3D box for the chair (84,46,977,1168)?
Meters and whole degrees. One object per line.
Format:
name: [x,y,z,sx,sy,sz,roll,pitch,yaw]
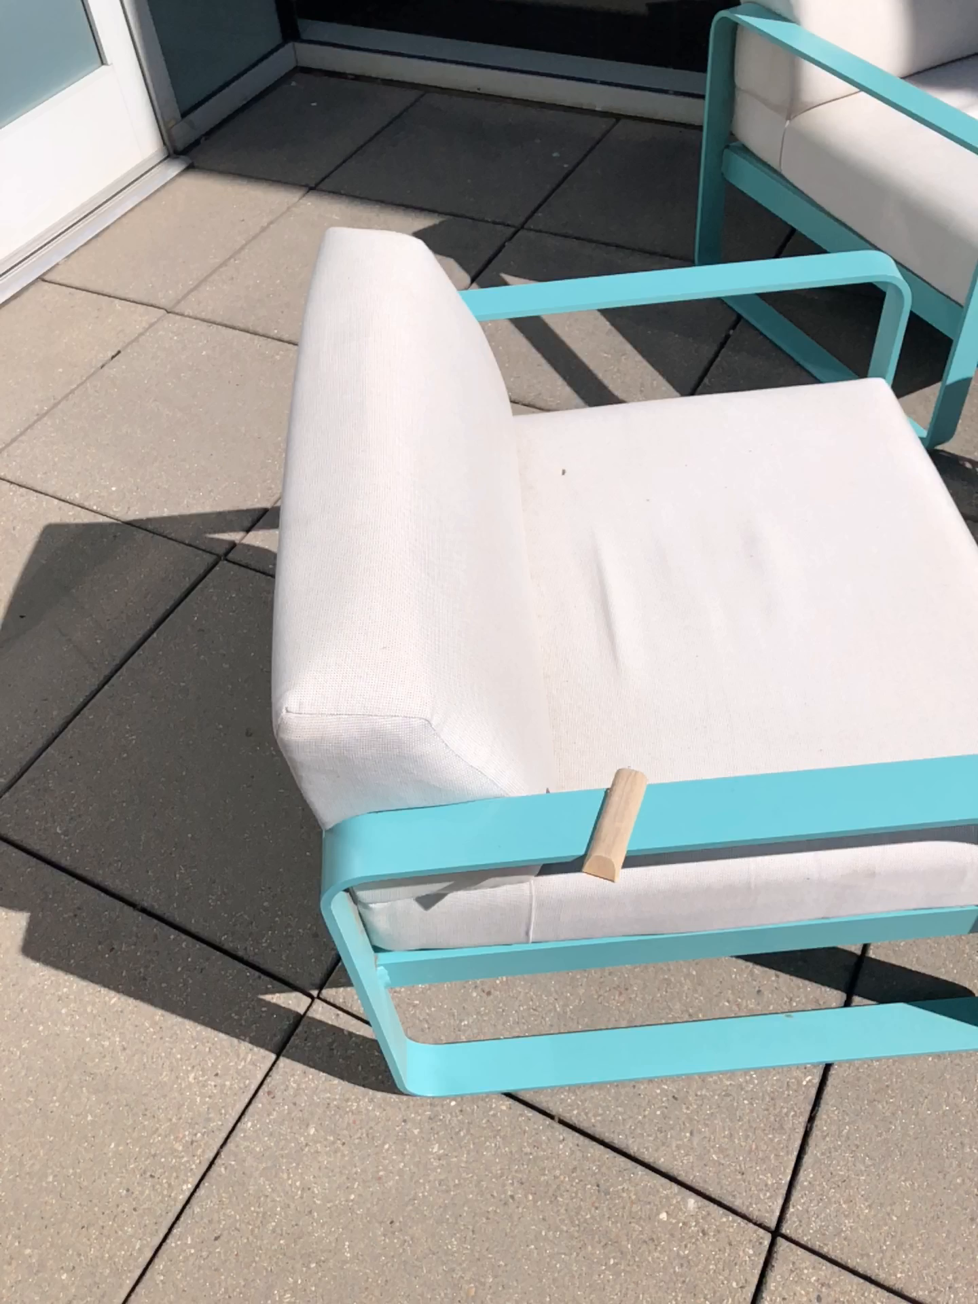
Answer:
chair: [0.166,-0.059,1.242,0.870,0.767,0.904,-8,49,-1]
